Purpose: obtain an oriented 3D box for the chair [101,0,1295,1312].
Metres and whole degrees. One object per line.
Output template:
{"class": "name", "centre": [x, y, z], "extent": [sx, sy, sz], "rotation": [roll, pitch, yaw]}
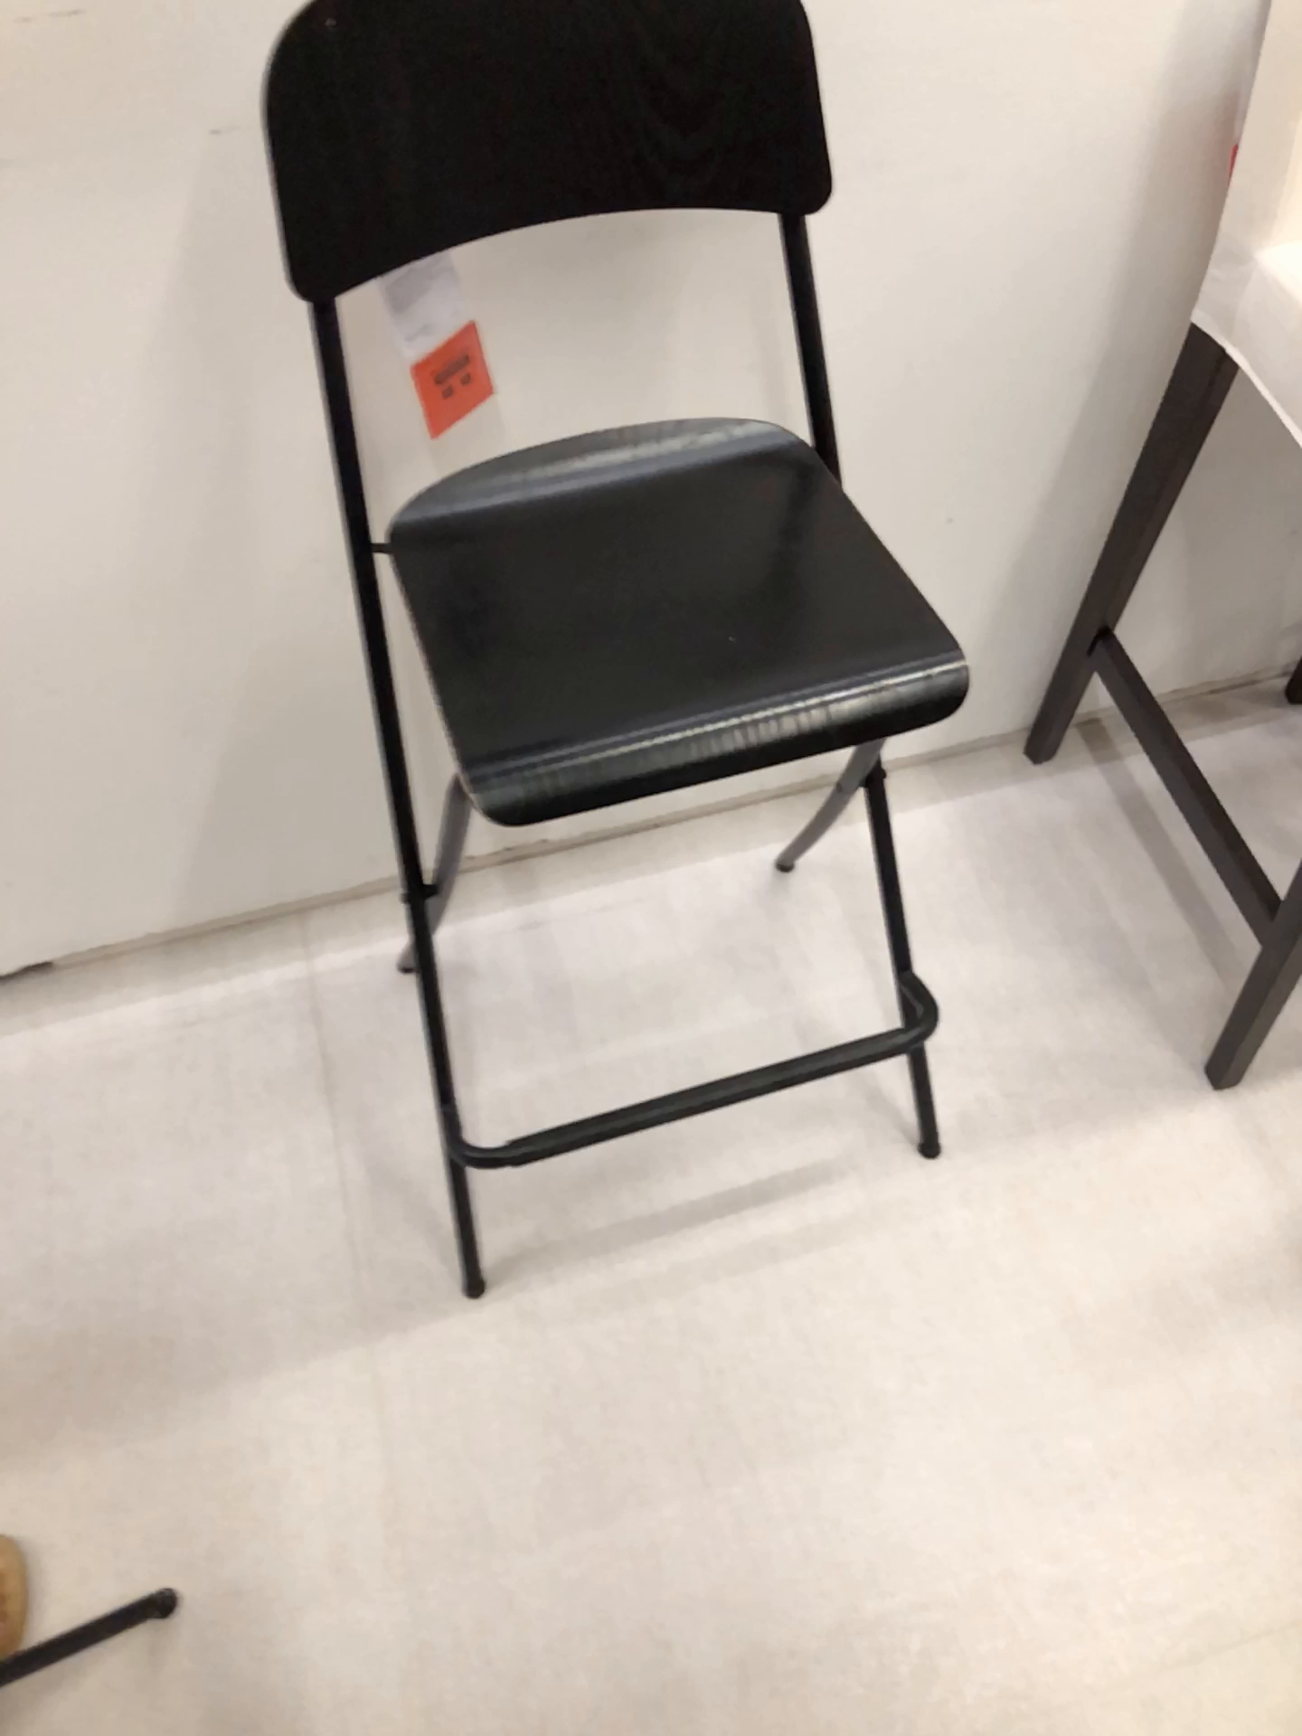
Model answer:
{"class": "chair", "centre": [-0.004, -0.125, 1.086], "extent": [0.490, 0.885, 0.473], "rotation": [-15, 53, -9]}
